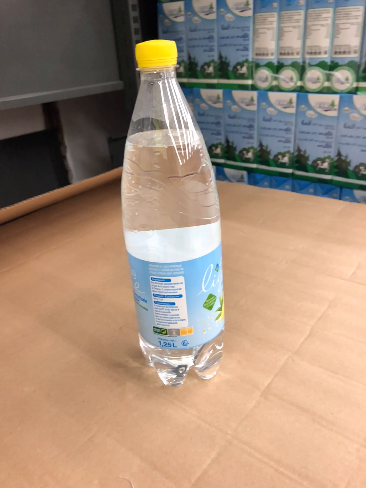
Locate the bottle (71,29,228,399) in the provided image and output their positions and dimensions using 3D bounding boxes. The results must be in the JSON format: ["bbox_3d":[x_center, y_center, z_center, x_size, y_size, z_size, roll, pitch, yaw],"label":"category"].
[{"bbox_3d":[-0.010,-0.015,0.341,0.080,0.288,0.091,4,27,15],"label":"bottle"}]
